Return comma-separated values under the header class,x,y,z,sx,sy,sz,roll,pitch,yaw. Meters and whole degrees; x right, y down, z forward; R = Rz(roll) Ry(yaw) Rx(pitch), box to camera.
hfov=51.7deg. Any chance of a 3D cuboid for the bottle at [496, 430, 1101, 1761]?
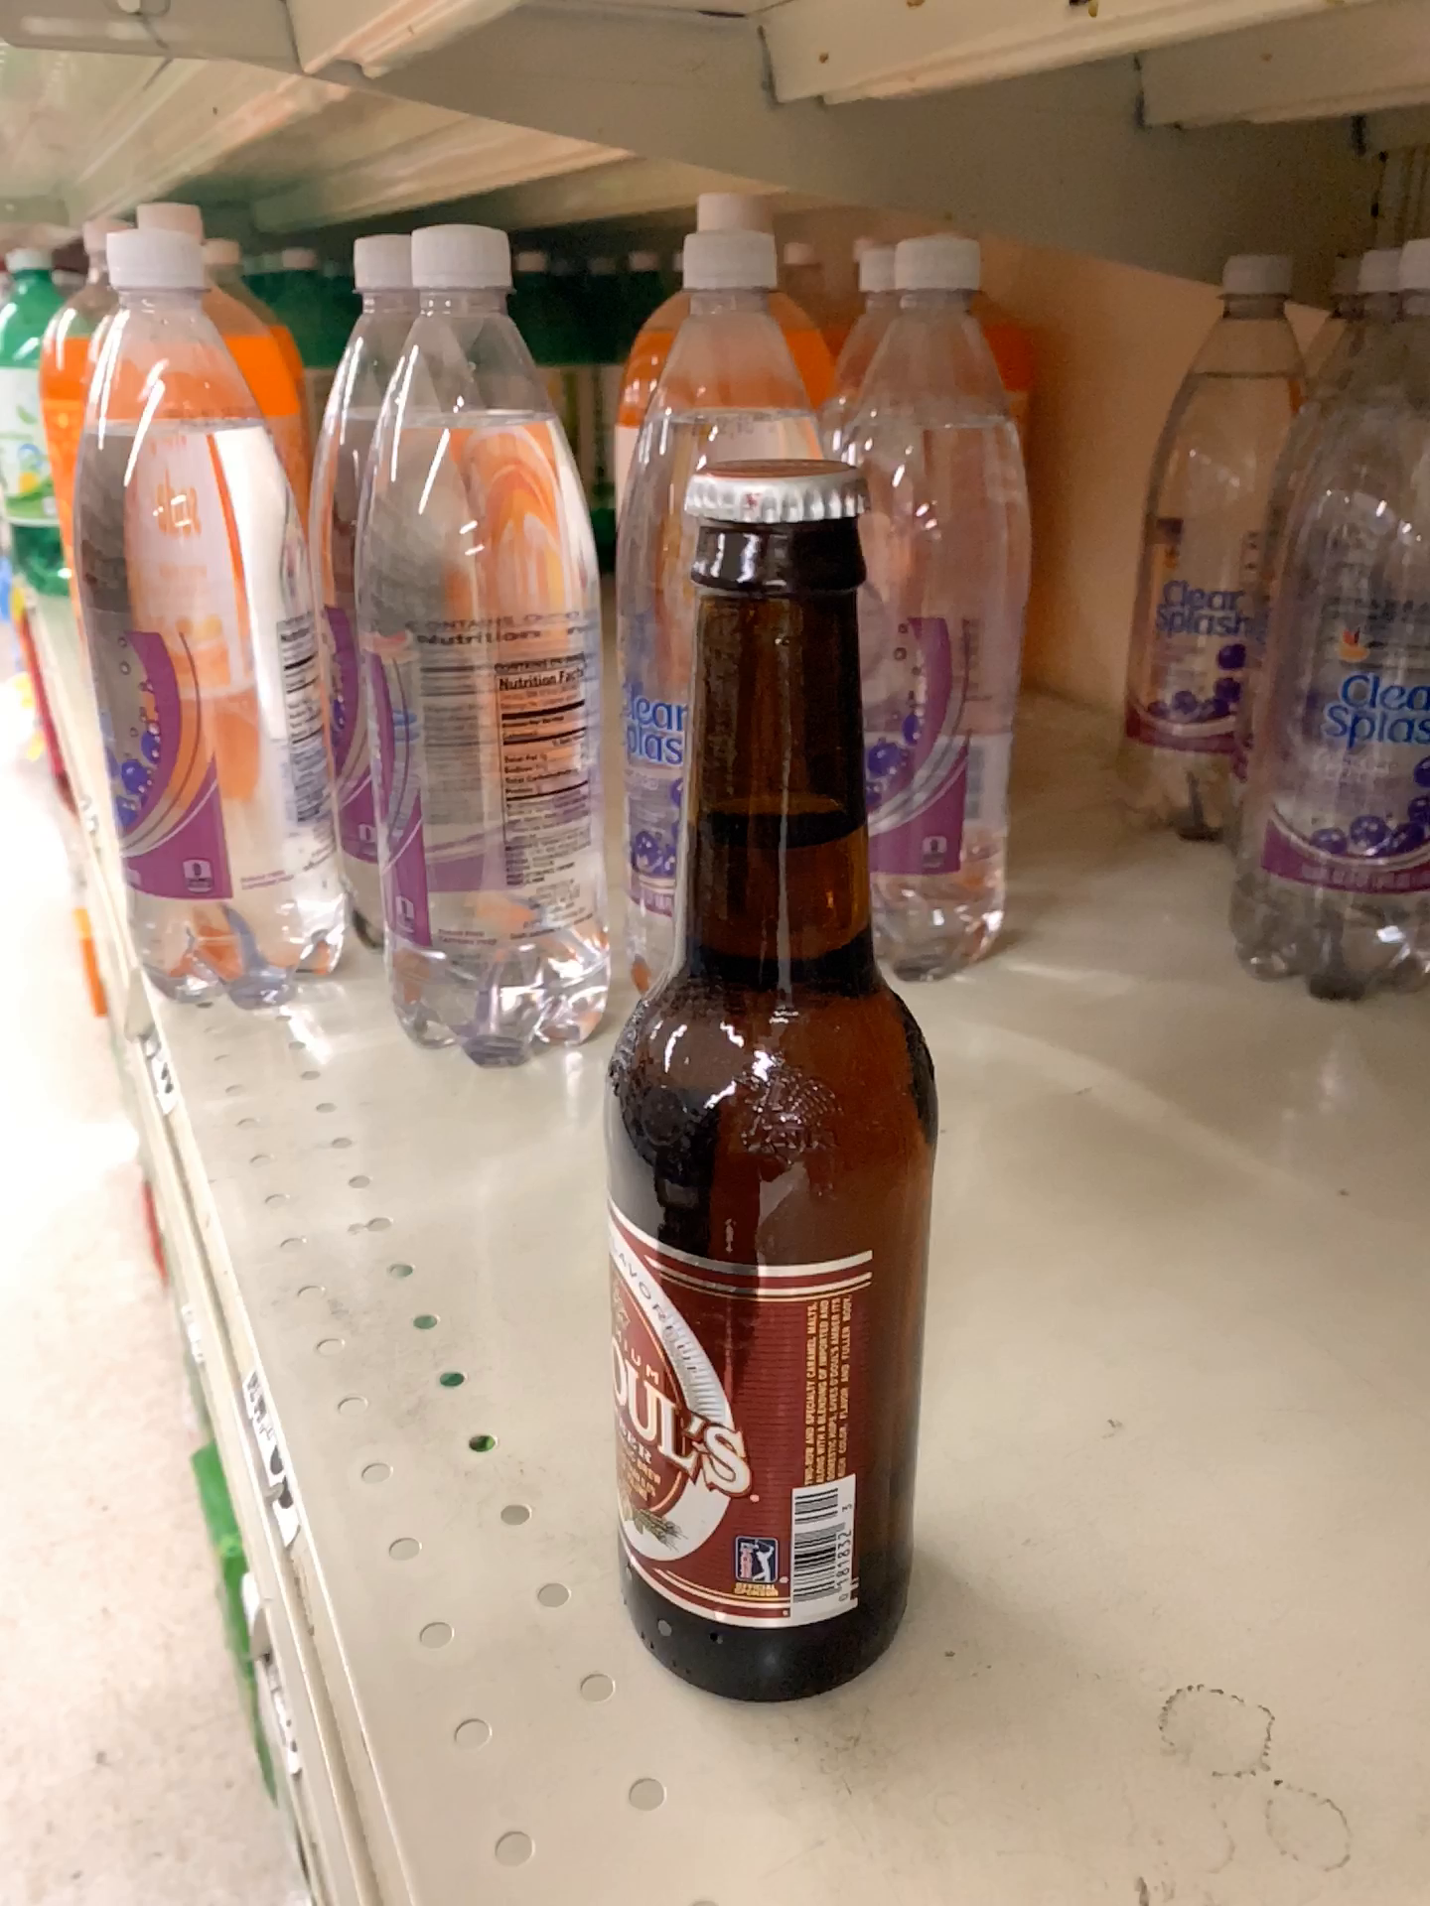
class,x,y,z,sx,sy,sz,roll,pitch,yaw
bottle,0.010,0.027,0.262,0.070,0.219,0.070,-1,23,0
